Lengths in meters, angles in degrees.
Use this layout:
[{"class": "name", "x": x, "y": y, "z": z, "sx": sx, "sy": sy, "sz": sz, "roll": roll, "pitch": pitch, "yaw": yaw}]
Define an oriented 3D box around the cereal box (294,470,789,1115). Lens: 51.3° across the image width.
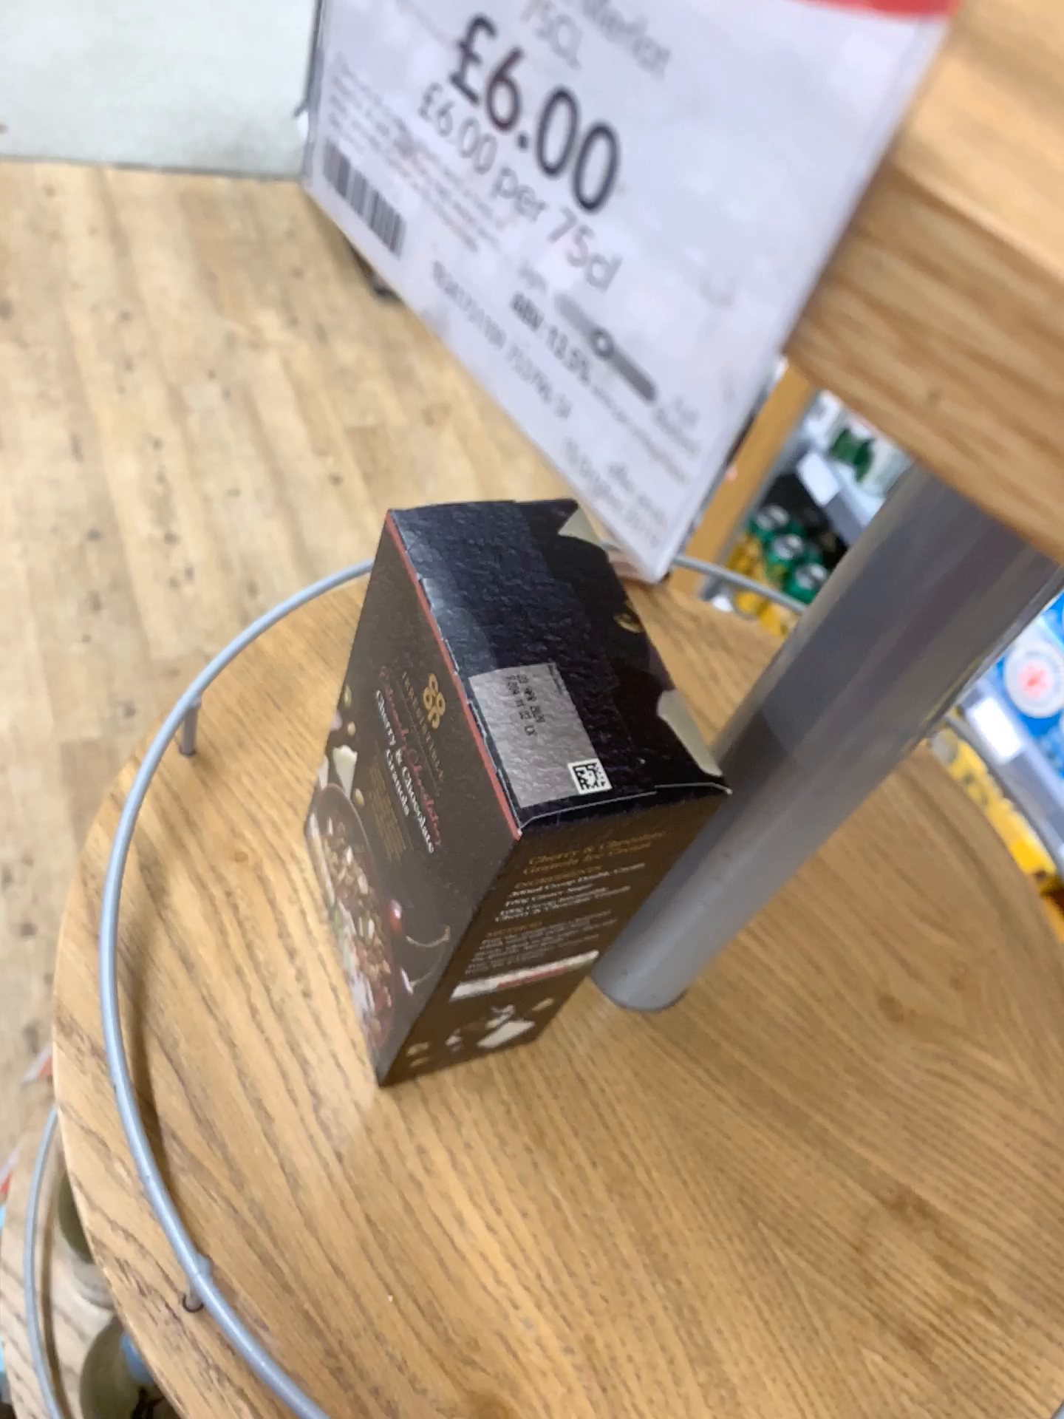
[{"class": "cereal box", "x": -0.018, "y": 0.040, "z": 0.427, "sx": 0.090, "sy": 0.218, "sz": 0.141, "roll": -8, "pitch": 56, "yaw": -25}]
